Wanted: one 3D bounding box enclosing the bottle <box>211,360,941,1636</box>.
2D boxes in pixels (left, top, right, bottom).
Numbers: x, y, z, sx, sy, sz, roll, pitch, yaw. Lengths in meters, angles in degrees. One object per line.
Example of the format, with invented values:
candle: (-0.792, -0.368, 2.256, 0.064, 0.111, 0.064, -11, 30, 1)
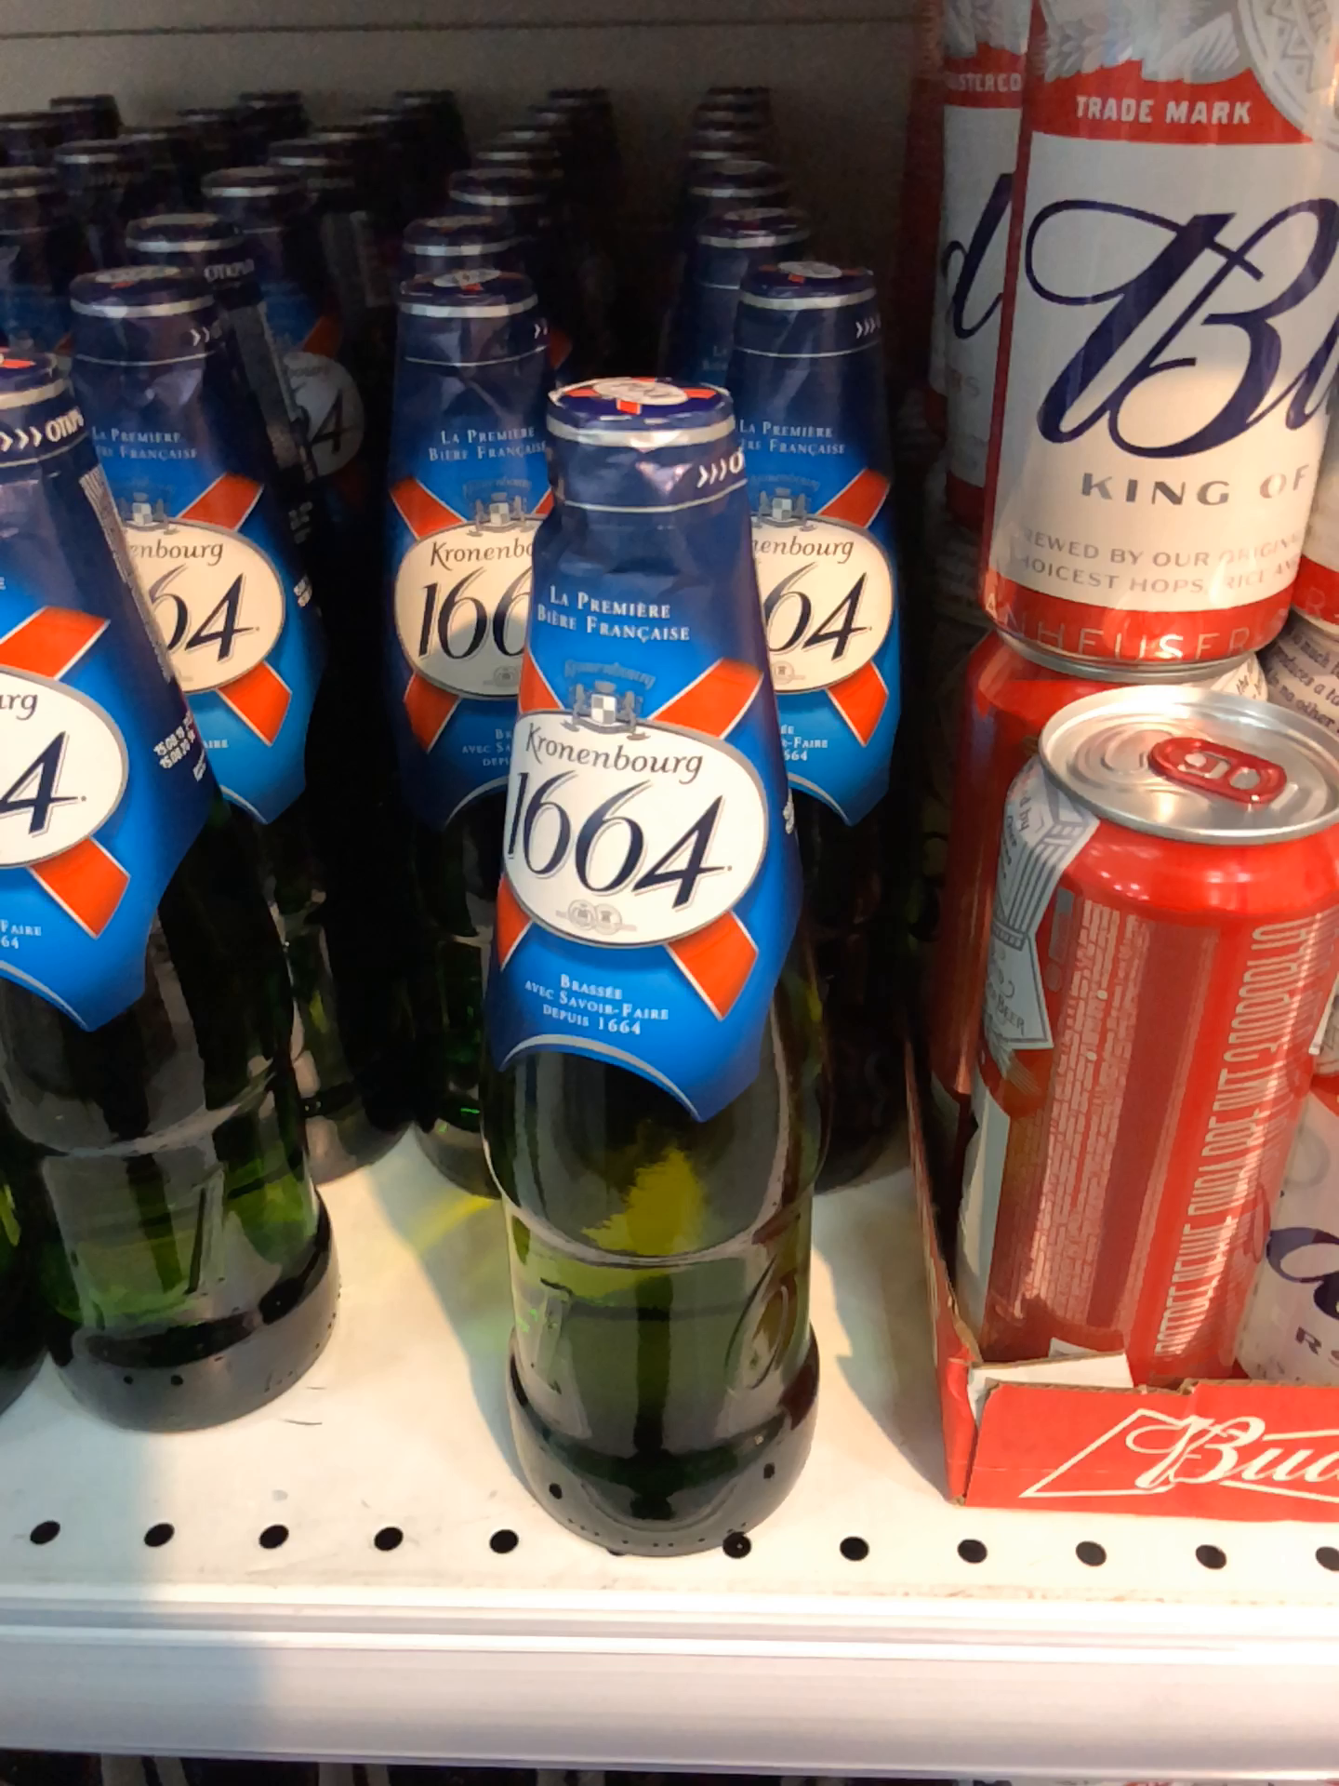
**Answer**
bottle: (-0.008, 0.025, 0.279, 0.080, 0.219, 0.080, -1, 32, 1)
